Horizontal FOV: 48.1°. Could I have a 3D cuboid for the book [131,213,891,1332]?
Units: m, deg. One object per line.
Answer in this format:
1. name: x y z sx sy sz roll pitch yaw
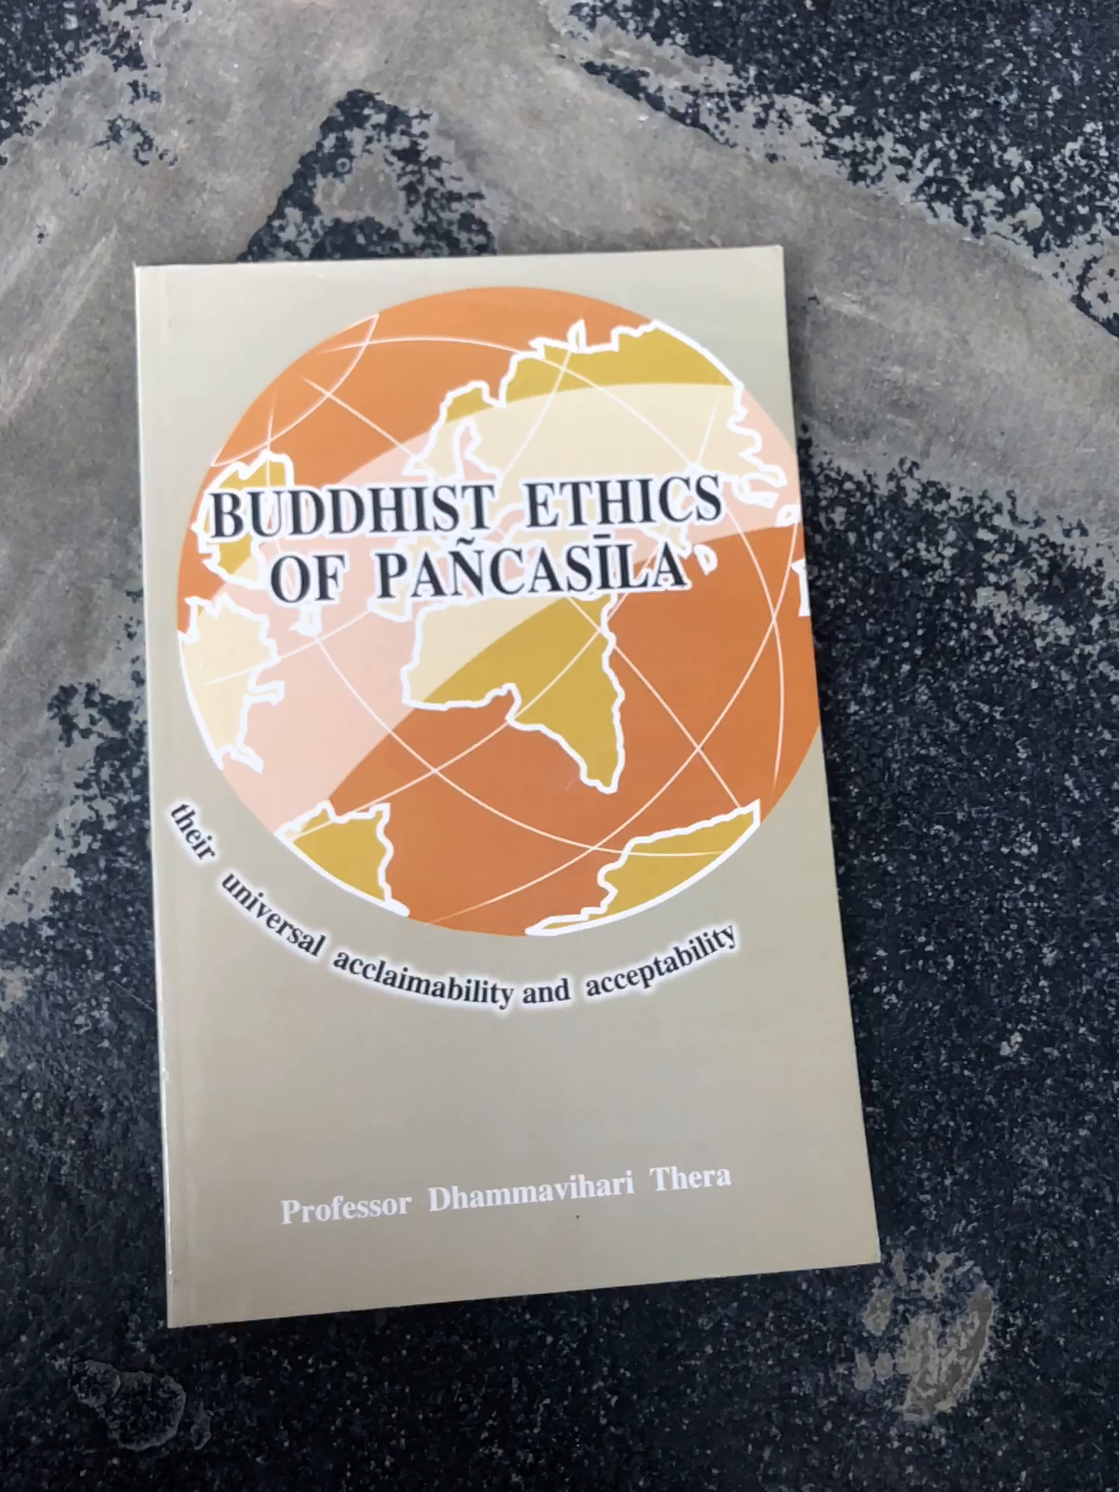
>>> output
1. book: -0.013 -0.004 0.258 0.140 0.010 0.220 -3 82 -6
